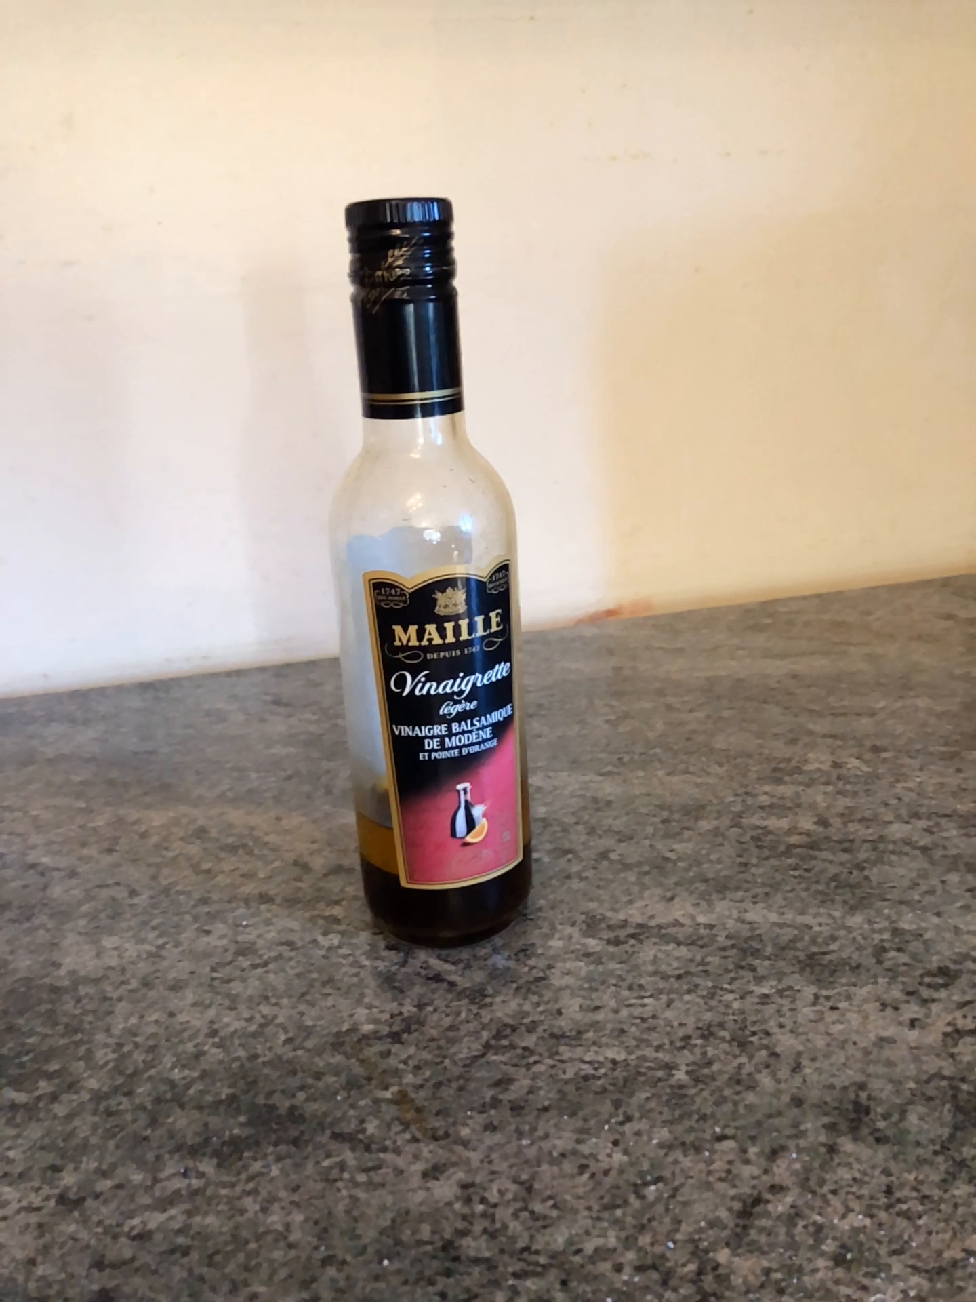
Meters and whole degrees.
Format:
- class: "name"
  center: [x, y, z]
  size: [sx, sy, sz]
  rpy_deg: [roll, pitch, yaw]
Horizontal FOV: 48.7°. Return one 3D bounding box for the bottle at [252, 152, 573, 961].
- class: "bottle"
  center: [-0.022, -0.027, 0.340]
  size: [0.070, 0.229, 0.070]
  rpy_deg: [-3, 19, 1]
